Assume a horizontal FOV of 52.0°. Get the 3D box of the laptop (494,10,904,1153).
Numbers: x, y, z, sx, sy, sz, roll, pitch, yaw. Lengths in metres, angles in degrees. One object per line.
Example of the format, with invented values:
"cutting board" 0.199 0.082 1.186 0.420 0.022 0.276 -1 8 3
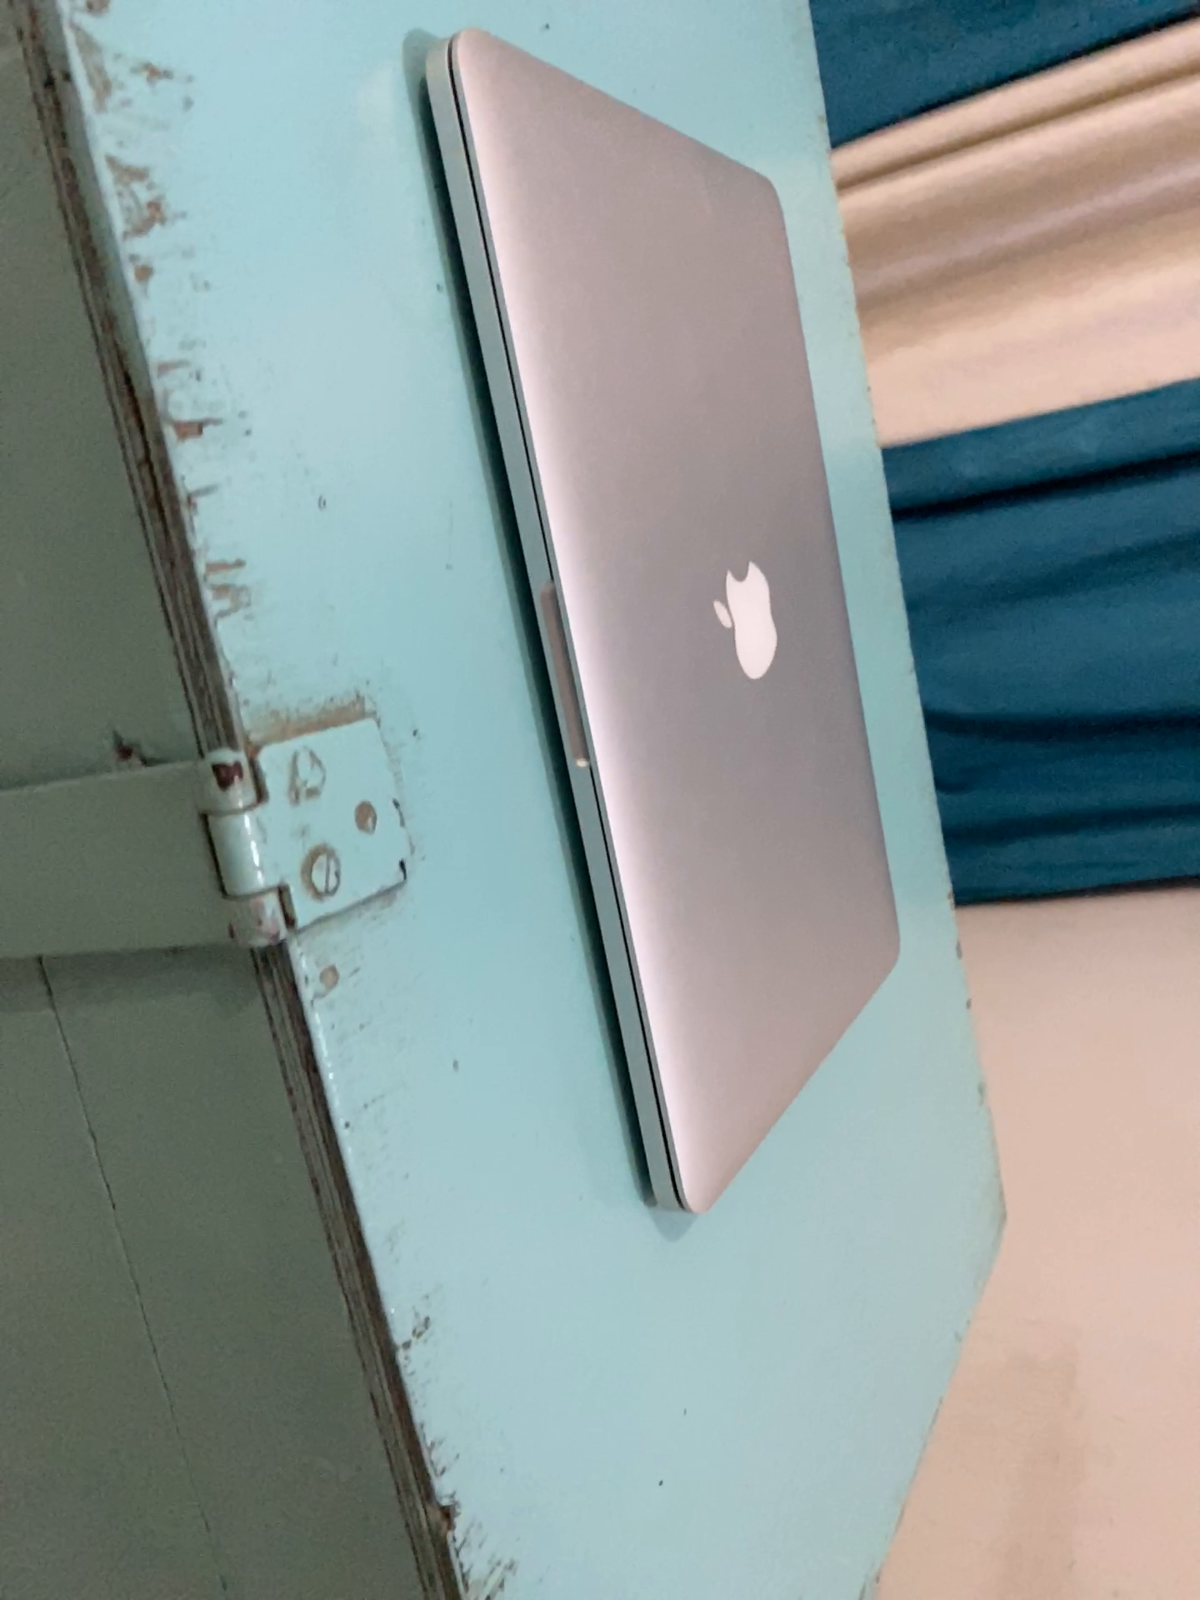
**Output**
"laptop" 0.052 -0.067 0.405 0.210 0.007 0.291 -31 113 -60
